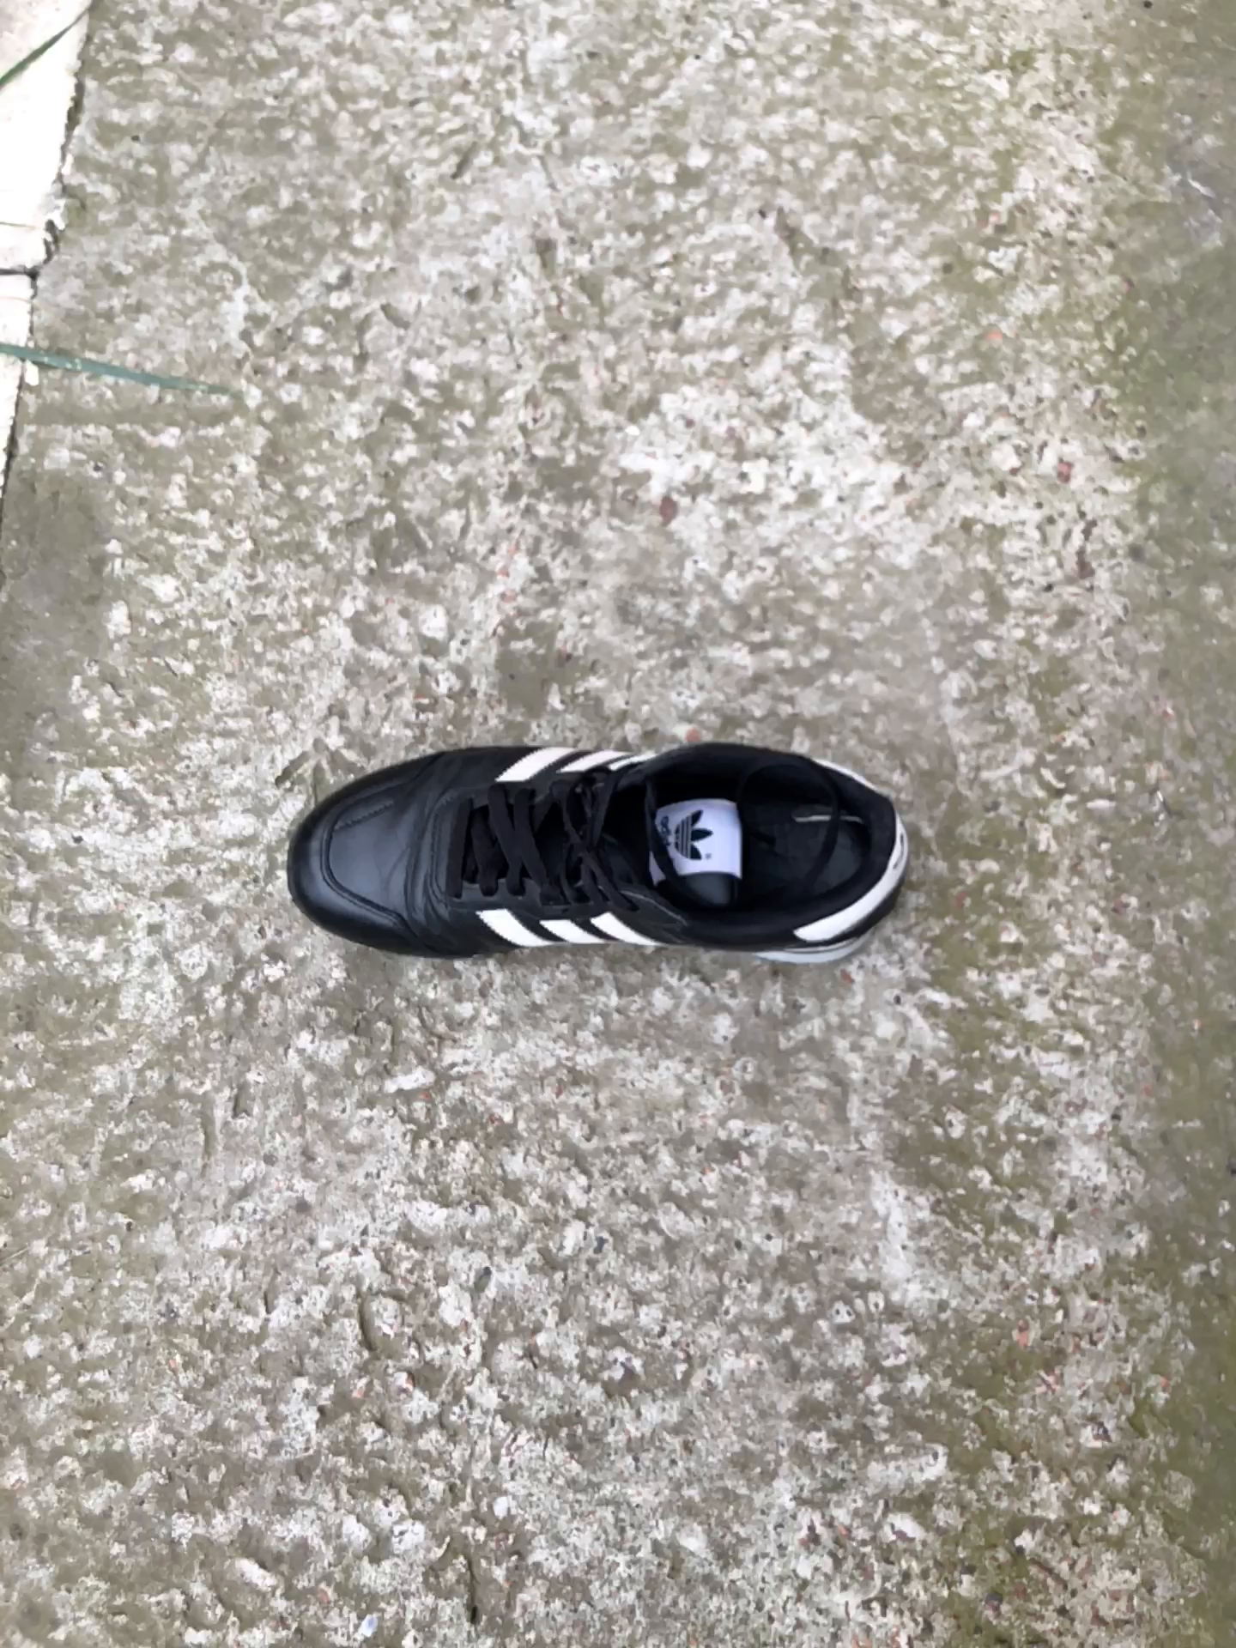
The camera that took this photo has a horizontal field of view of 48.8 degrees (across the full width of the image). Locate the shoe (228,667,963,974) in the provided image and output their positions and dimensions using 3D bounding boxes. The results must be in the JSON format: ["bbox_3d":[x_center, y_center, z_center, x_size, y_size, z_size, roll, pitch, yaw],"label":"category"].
[{"bbox_3d":[-0.010,0.005,0.587,0.280,0.120,0.100,2,78,-4],"label":"shoe"}]
